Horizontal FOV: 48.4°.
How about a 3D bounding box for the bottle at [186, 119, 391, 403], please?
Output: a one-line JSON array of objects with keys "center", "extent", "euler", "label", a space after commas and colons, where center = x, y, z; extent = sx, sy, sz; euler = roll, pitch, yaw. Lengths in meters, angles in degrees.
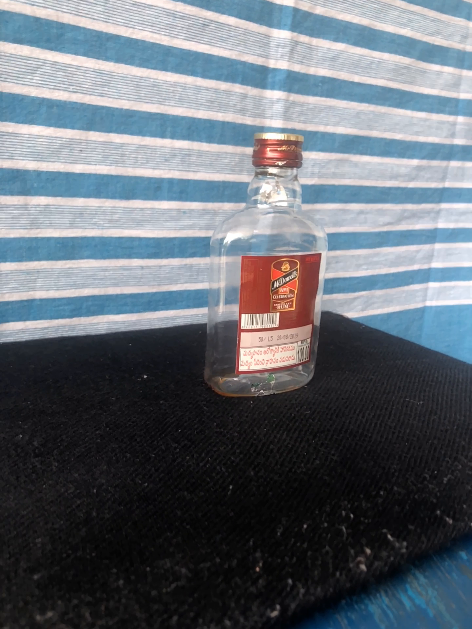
[{"center": [0.025, -0.027, 0.272], "extent": [0.080, 0.130, 0.040], "euler": [-3, 19, -32], "label": "bottle"}]
